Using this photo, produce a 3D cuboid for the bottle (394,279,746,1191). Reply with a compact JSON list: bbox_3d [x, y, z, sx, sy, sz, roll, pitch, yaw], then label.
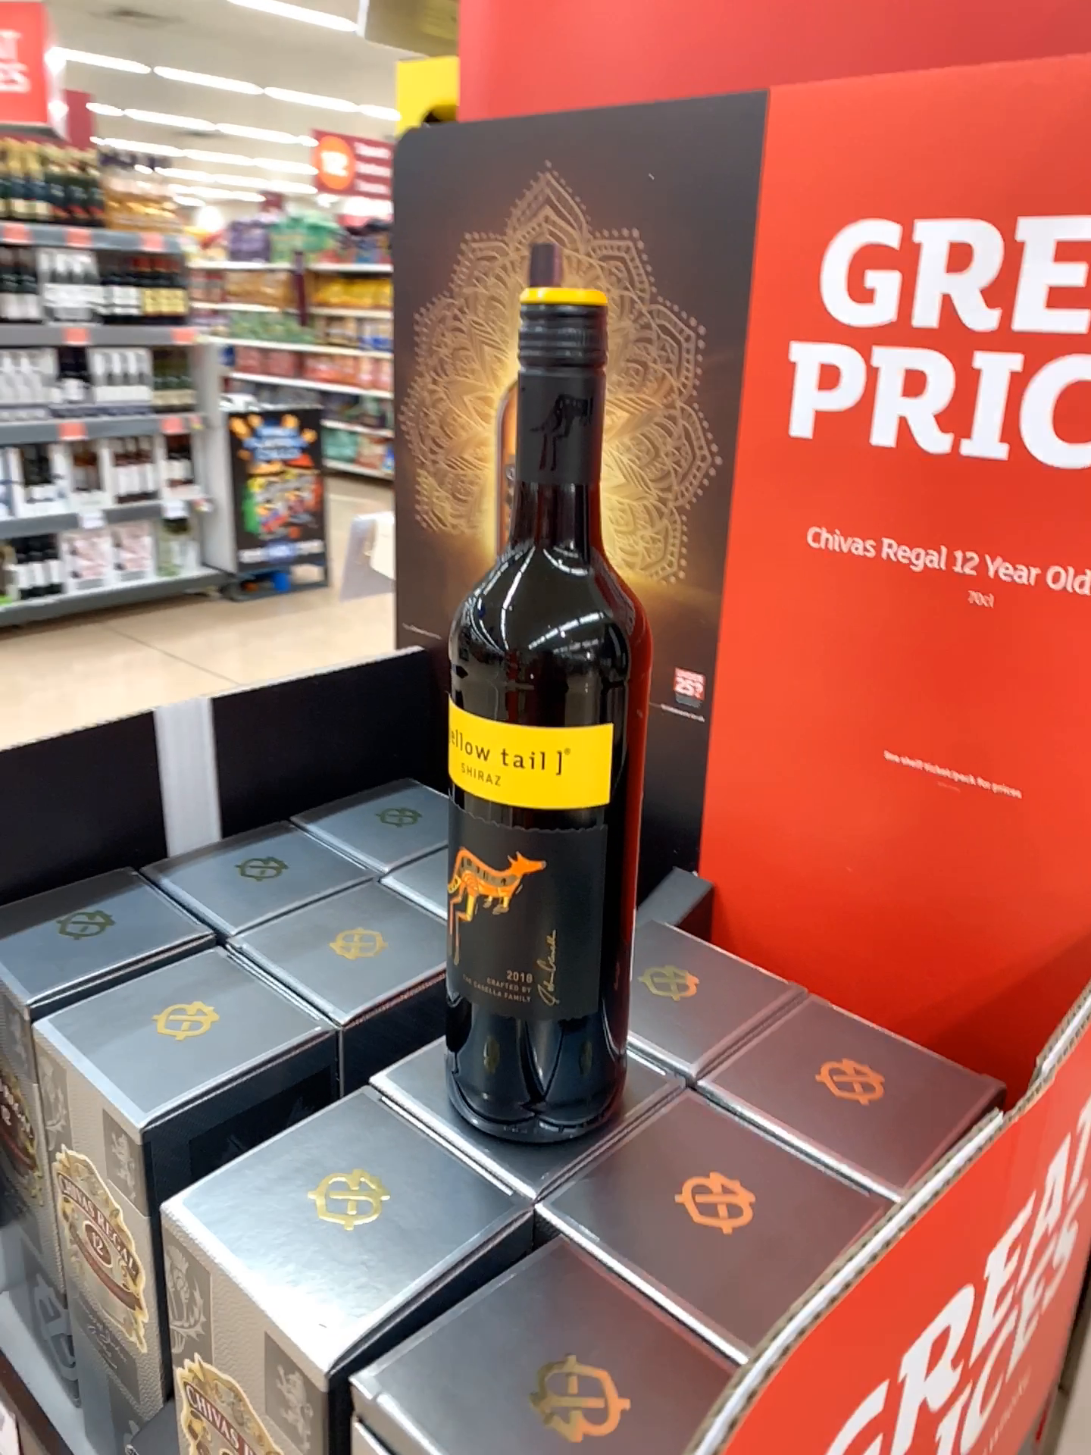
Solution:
[{"bbox_3d":[0.002,0.004,0.405,0.077,0.305,0.081,2,20,-1],"label":"bottle"}]
